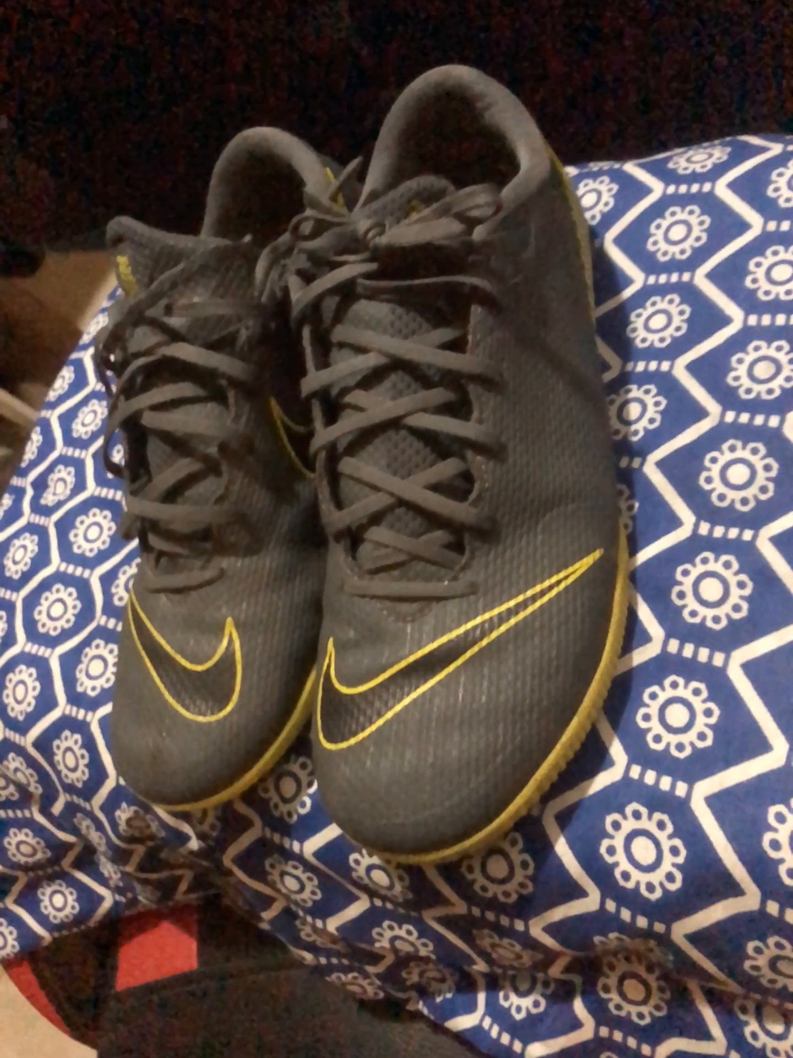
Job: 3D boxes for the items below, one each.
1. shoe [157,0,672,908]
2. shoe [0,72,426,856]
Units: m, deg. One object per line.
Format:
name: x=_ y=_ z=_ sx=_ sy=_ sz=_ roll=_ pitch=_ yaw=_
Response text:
shoe: x=0.022 y=-0.025 z=0.265 sx=0.090 sy=0.090 sz=0.240 roll=-3 pitch=65 yaw=29
shoe: x=-0.066 y=-0.023 z=0.309 sx=0.090 sy=0.090 sz=0.240 roll=-3 pitch=65 yaw=29
